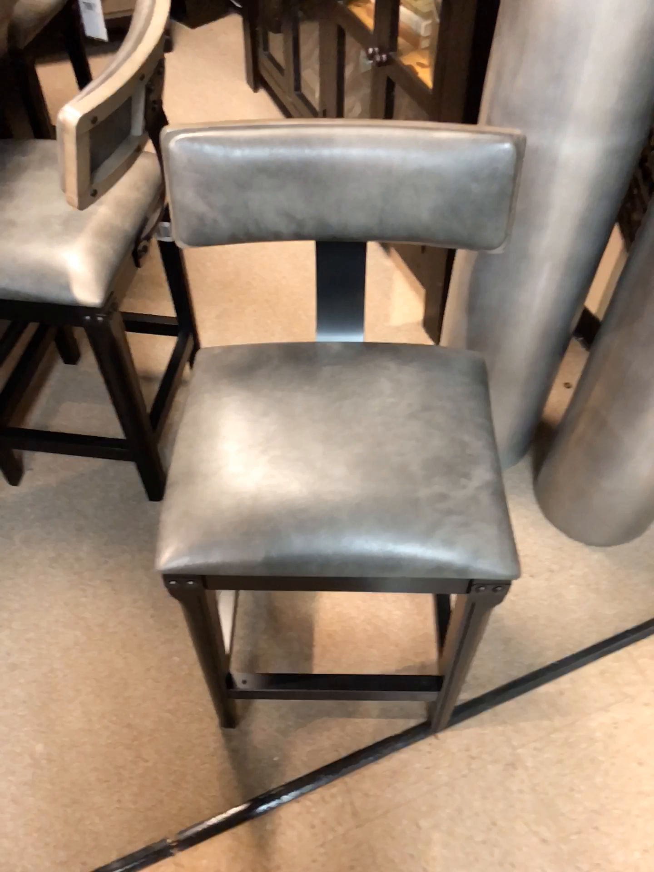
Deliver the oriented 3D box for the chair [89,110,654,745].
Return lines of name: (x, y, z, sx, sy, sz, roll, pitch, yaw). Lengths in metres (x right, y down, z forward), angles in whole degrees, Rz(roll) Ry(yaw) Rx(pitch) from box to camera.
chair: (0.035, 0.075, 1.018, 0.440, 0.865, 0.462, 0, 52, -1)
